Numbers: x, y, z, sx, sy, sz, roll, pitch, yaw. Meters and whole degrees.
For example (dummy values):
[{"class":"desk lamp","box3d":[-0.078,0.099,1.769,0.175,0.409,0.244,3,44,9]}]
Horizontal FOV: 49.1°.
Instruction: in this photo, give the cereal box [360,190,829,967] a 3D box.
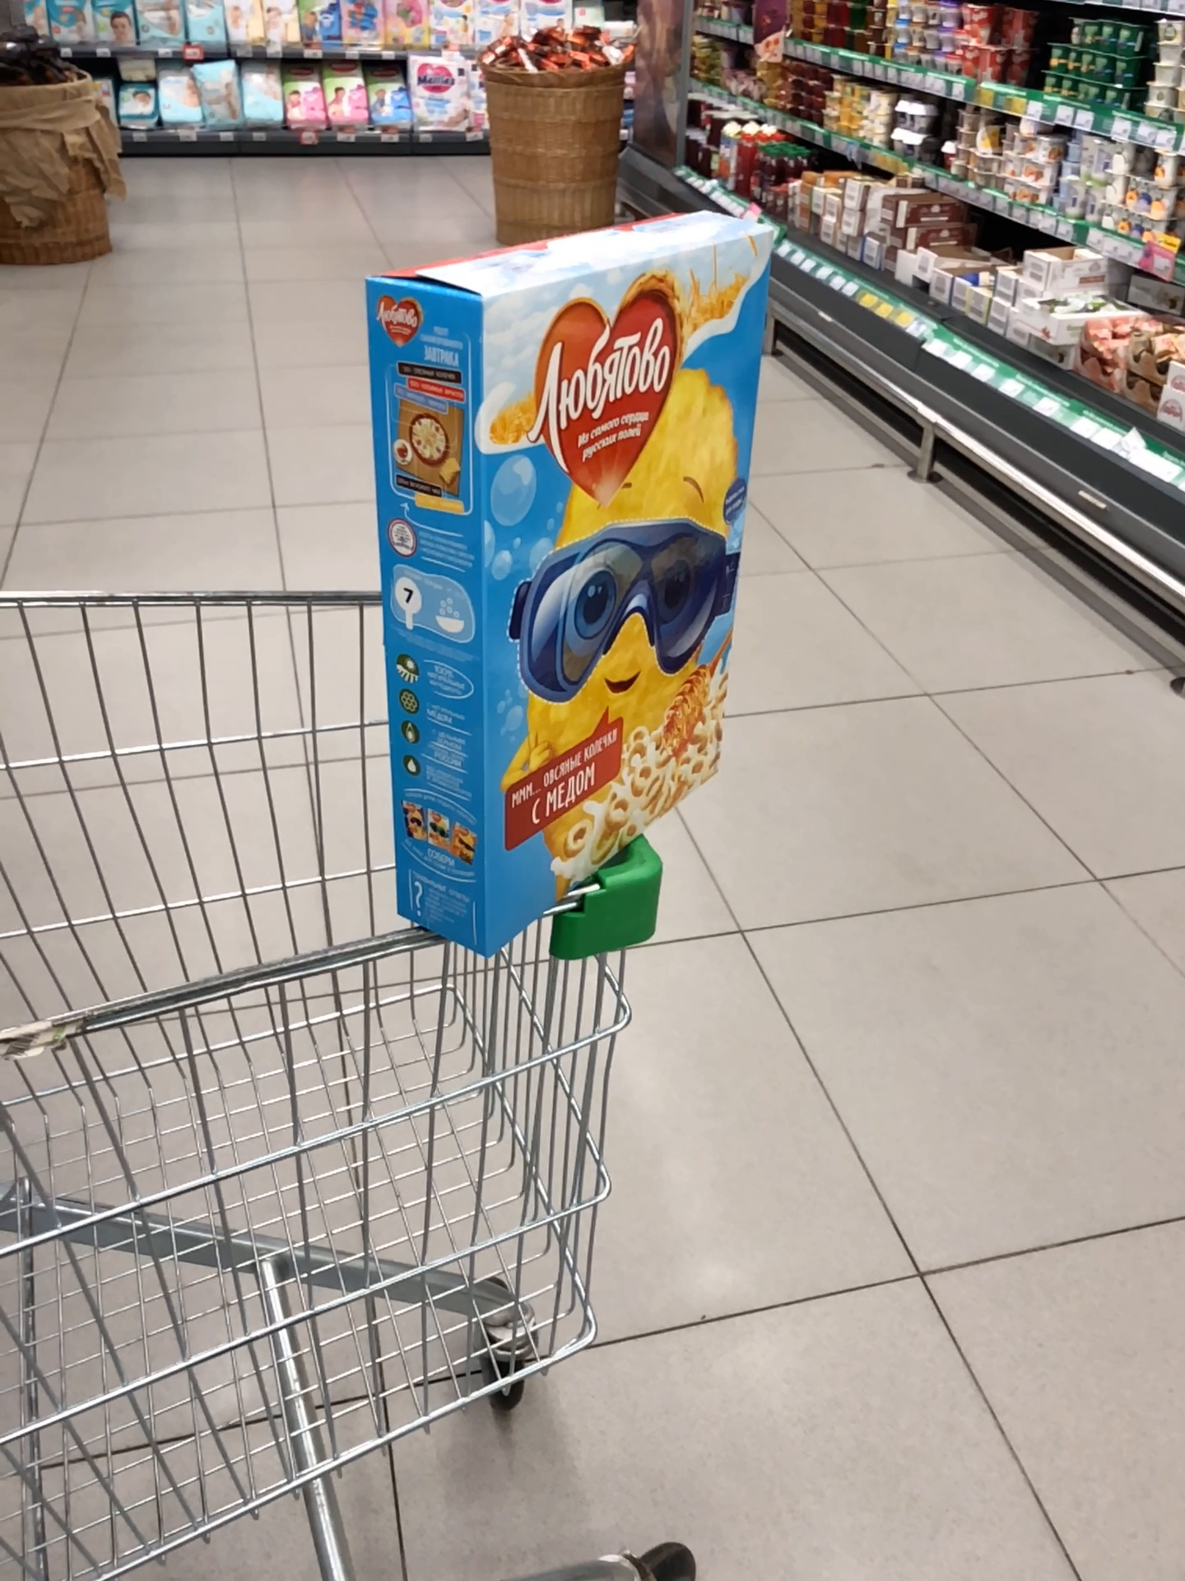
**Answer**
[{"class":"cereal box","box3d":[0.006,-0.090,0.515,0.060,0.249,0.201,22,36,28]}]
